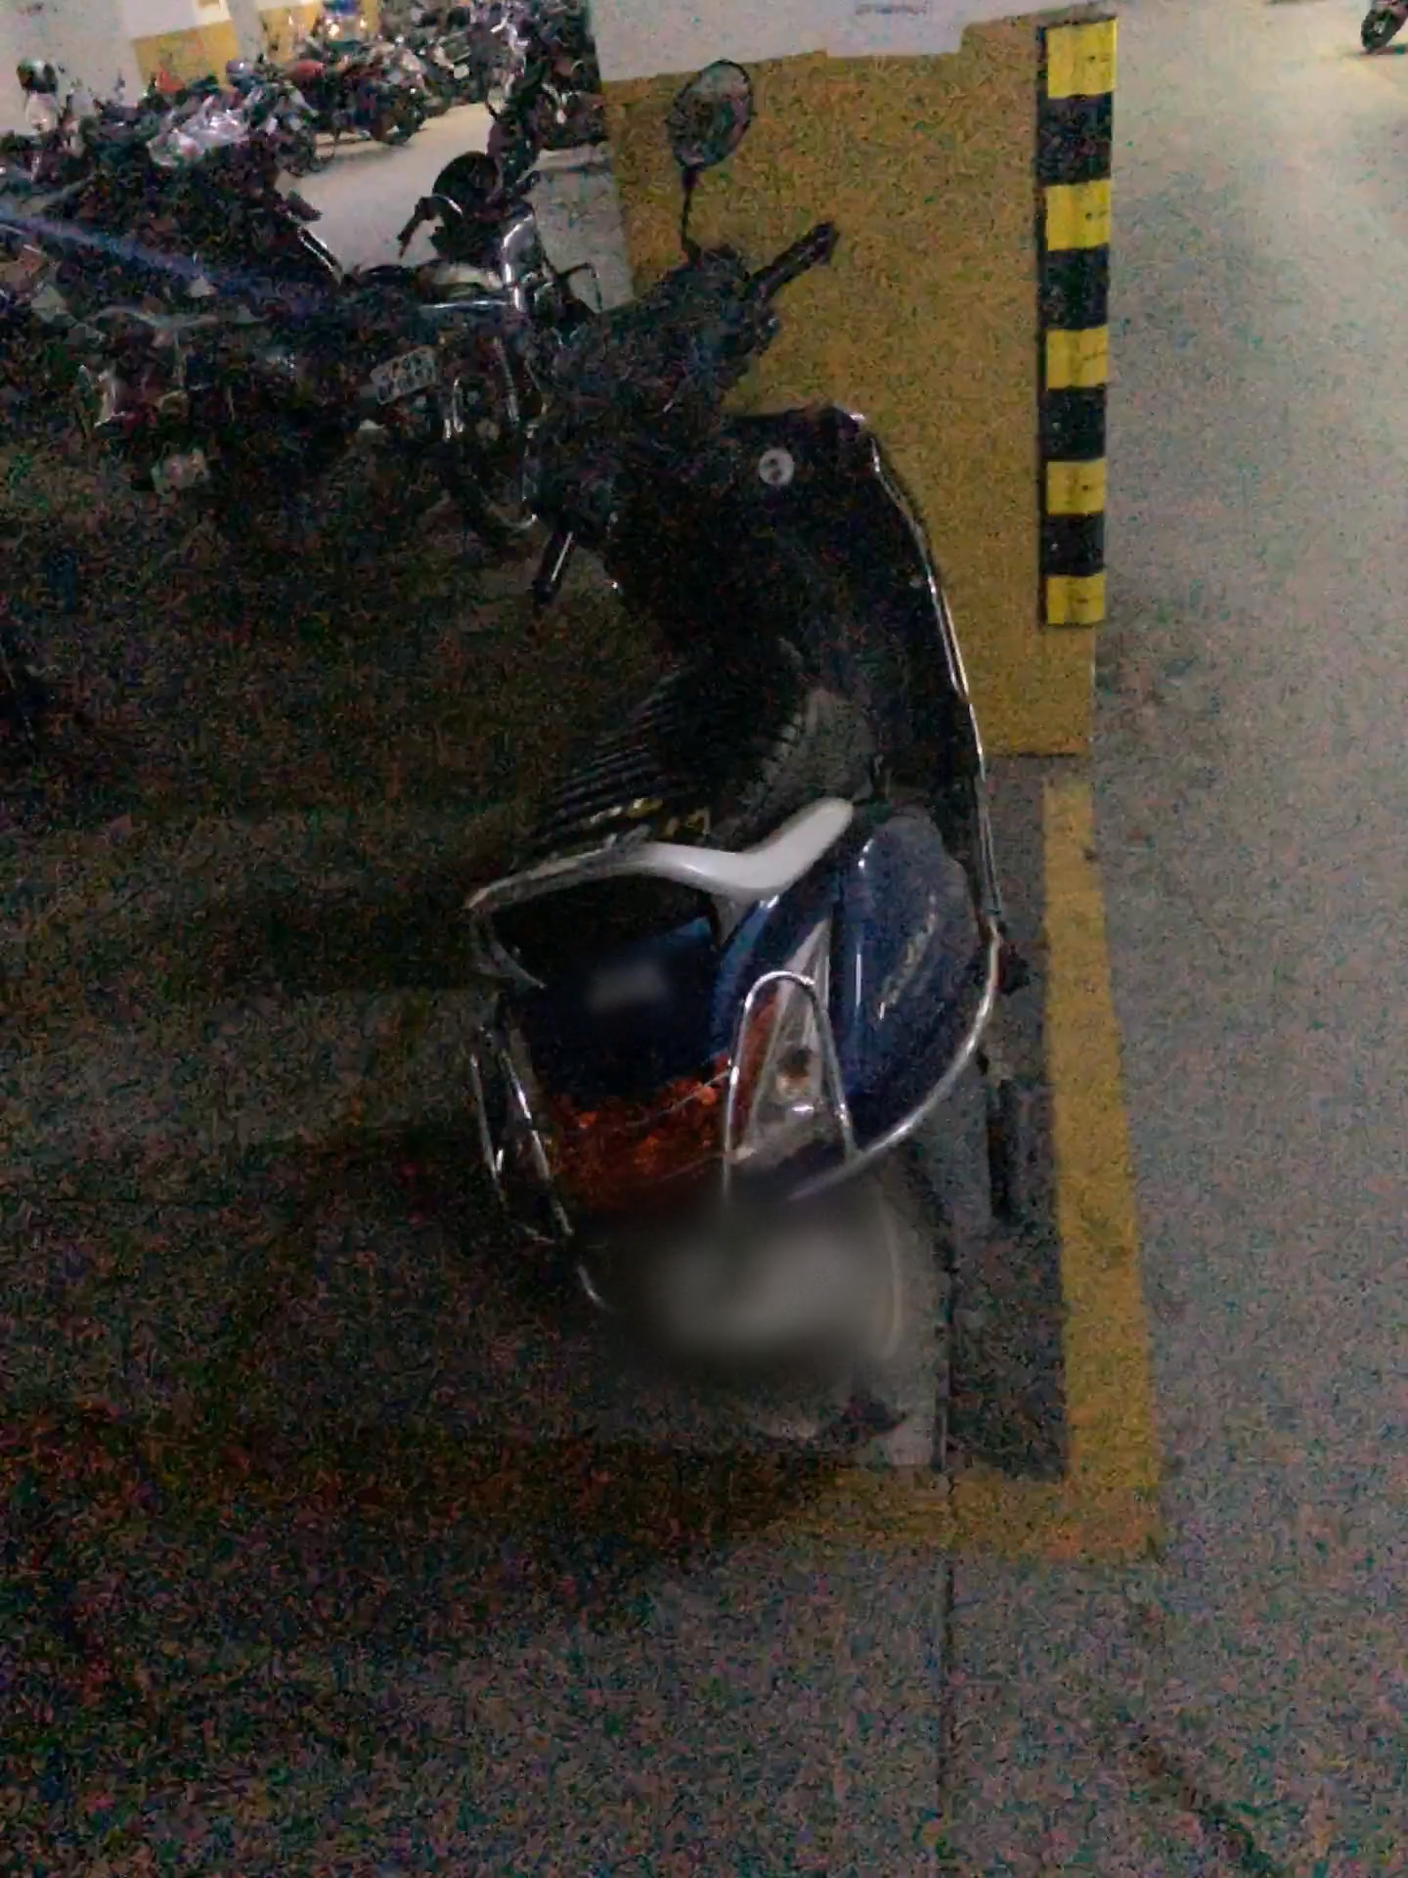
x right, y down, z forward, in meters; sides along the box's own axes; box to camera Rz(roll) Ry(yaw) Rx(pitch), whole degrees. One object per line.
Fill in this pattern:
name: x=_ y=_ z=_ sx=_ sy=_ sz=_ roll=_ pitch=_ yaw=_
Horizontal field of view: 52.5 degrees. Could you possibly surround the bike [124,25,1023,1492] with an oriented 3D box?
bike: x=-0.072 y=-0.284 z=1.761 sx=0.630 sy=1.063 sz=1.276 roll=-8 pitch=41 yaw=4
